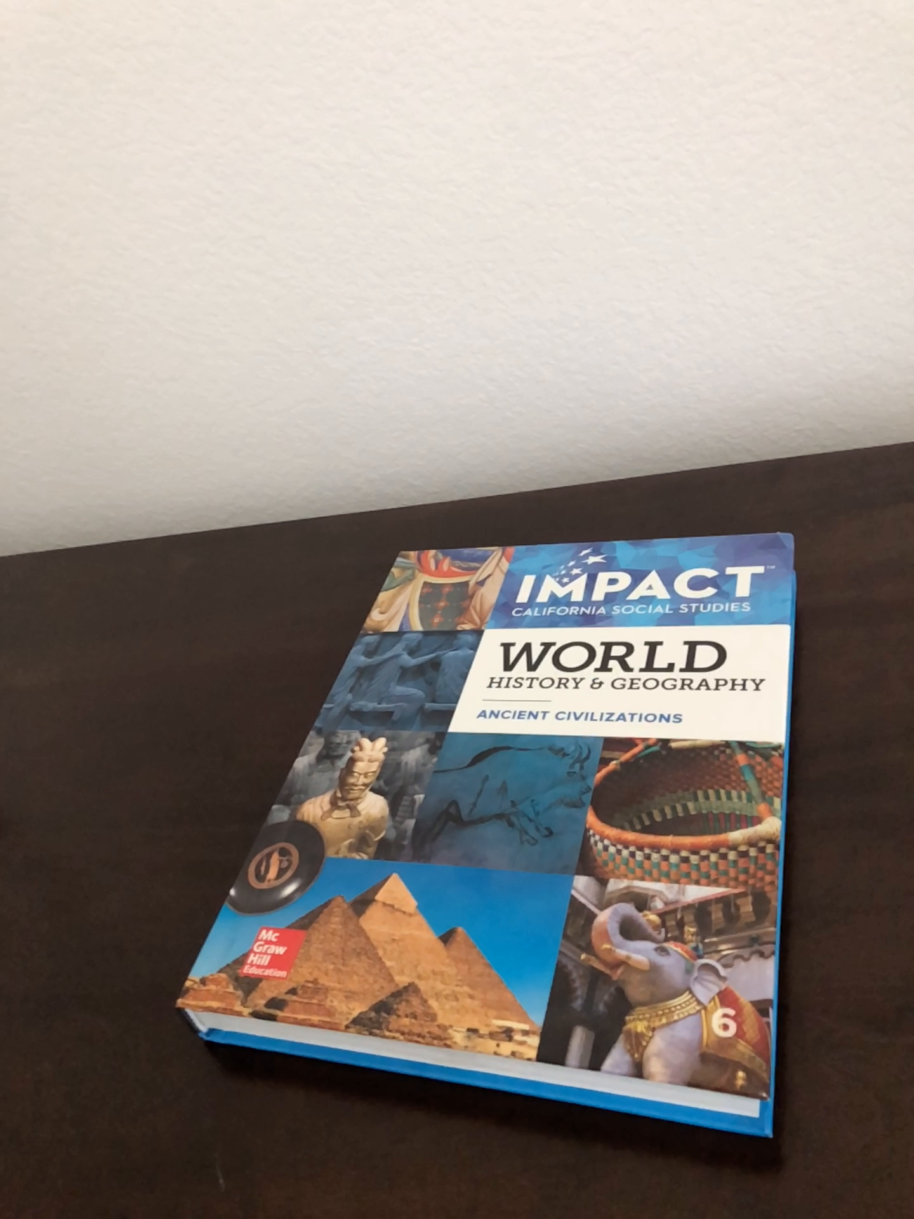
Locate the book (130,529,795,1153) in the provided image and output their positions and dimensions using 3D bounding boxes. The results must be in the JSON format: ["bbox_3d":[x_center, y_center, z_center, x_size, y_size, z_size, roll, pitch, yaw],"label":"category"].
[{"bbox_3d":[0.025,0.066,0.448,0.227,0.030,0.286,-1,40,22],"label":"book"}]
